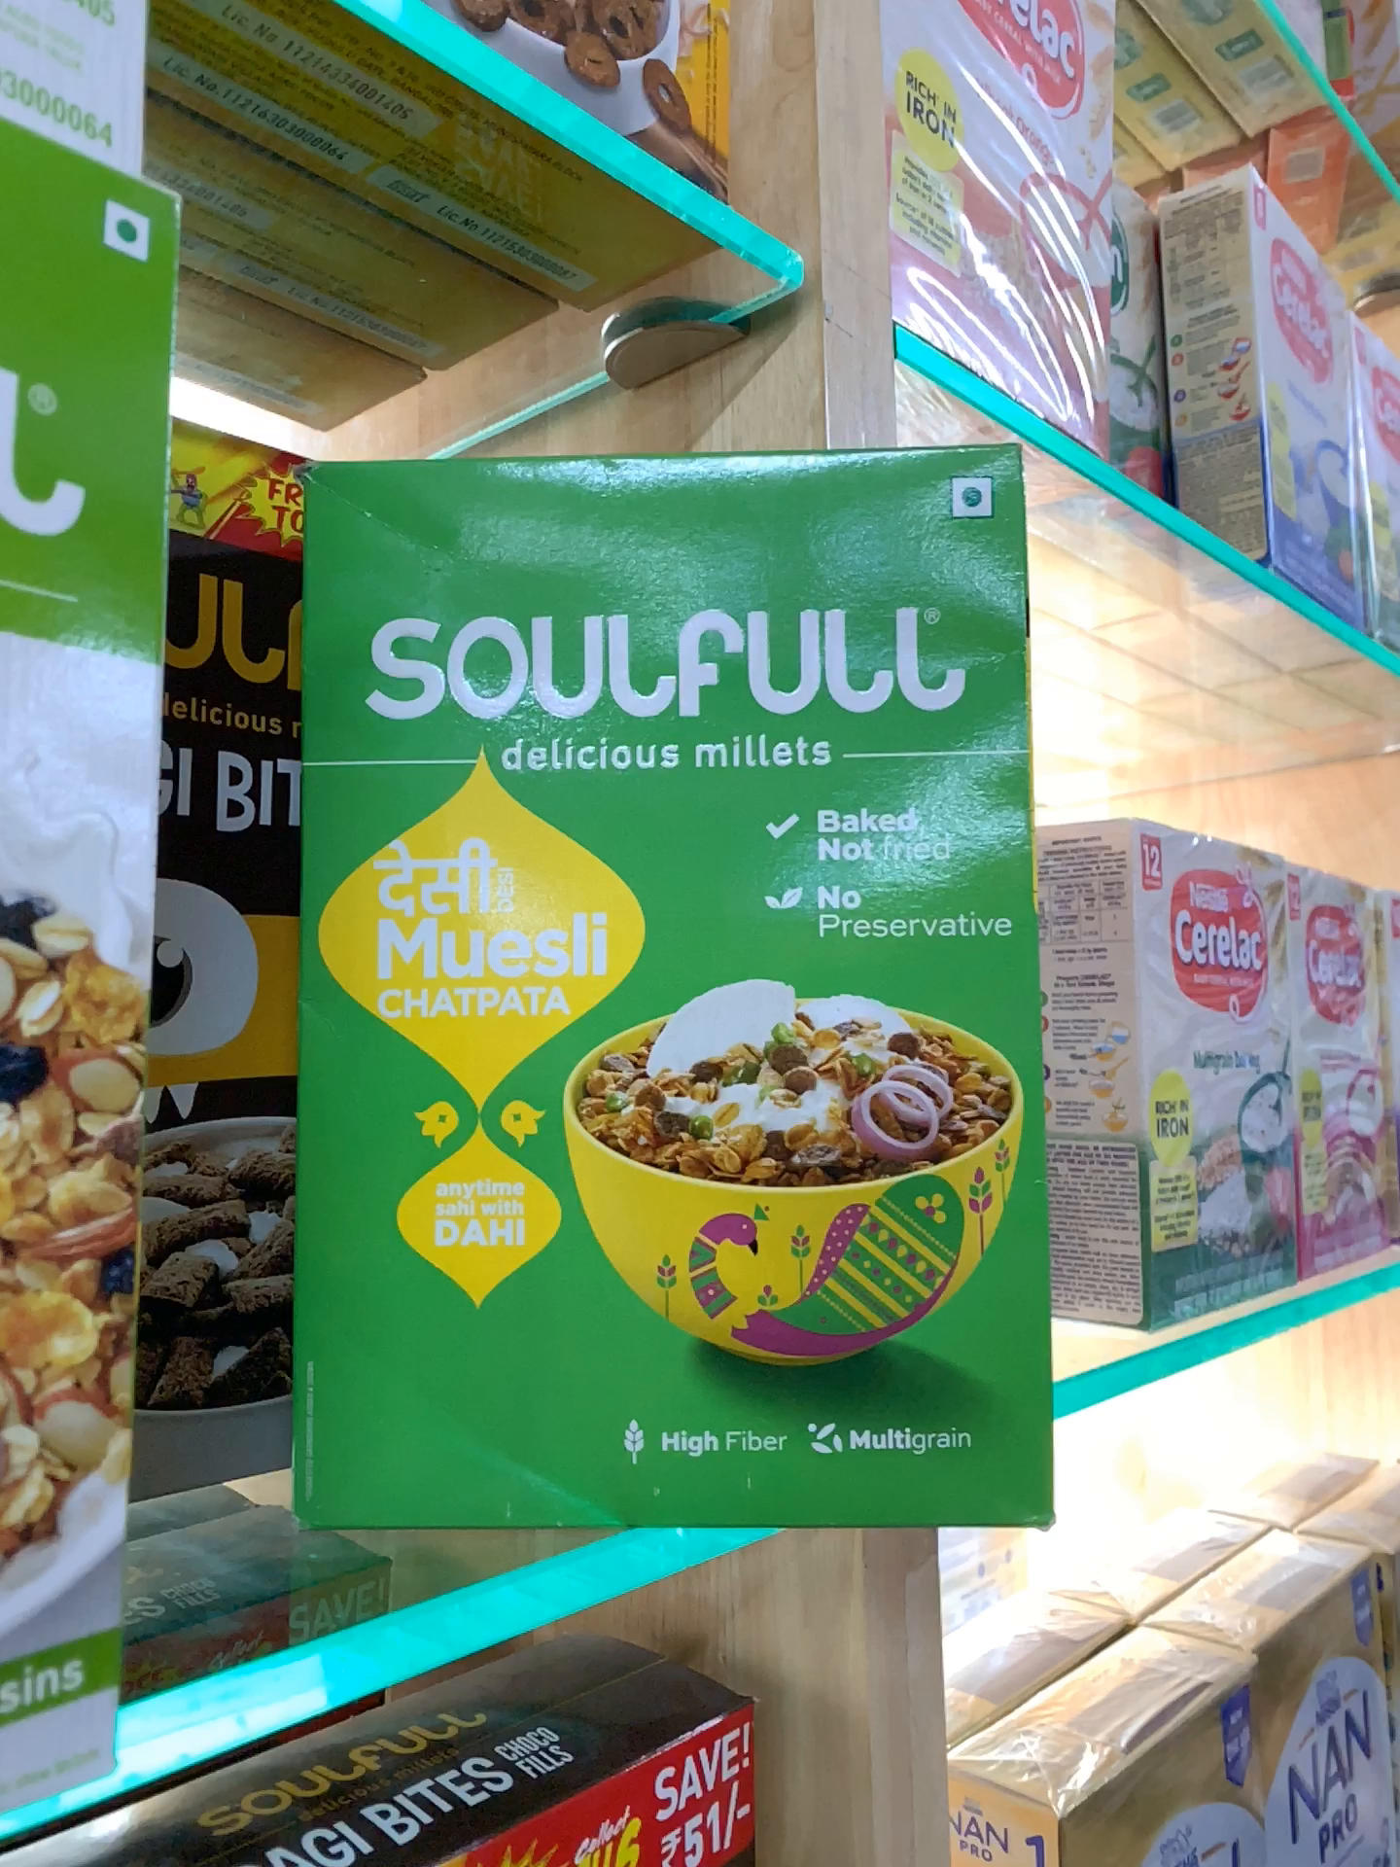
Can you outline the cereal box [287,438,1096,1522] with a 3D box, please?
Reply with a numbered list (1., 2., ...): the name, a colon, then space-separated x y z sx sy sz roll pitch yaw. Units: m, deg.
1. cereal box: -0.003 0.008 0.327 0.160 0.220 0.060 -1 -6 0
